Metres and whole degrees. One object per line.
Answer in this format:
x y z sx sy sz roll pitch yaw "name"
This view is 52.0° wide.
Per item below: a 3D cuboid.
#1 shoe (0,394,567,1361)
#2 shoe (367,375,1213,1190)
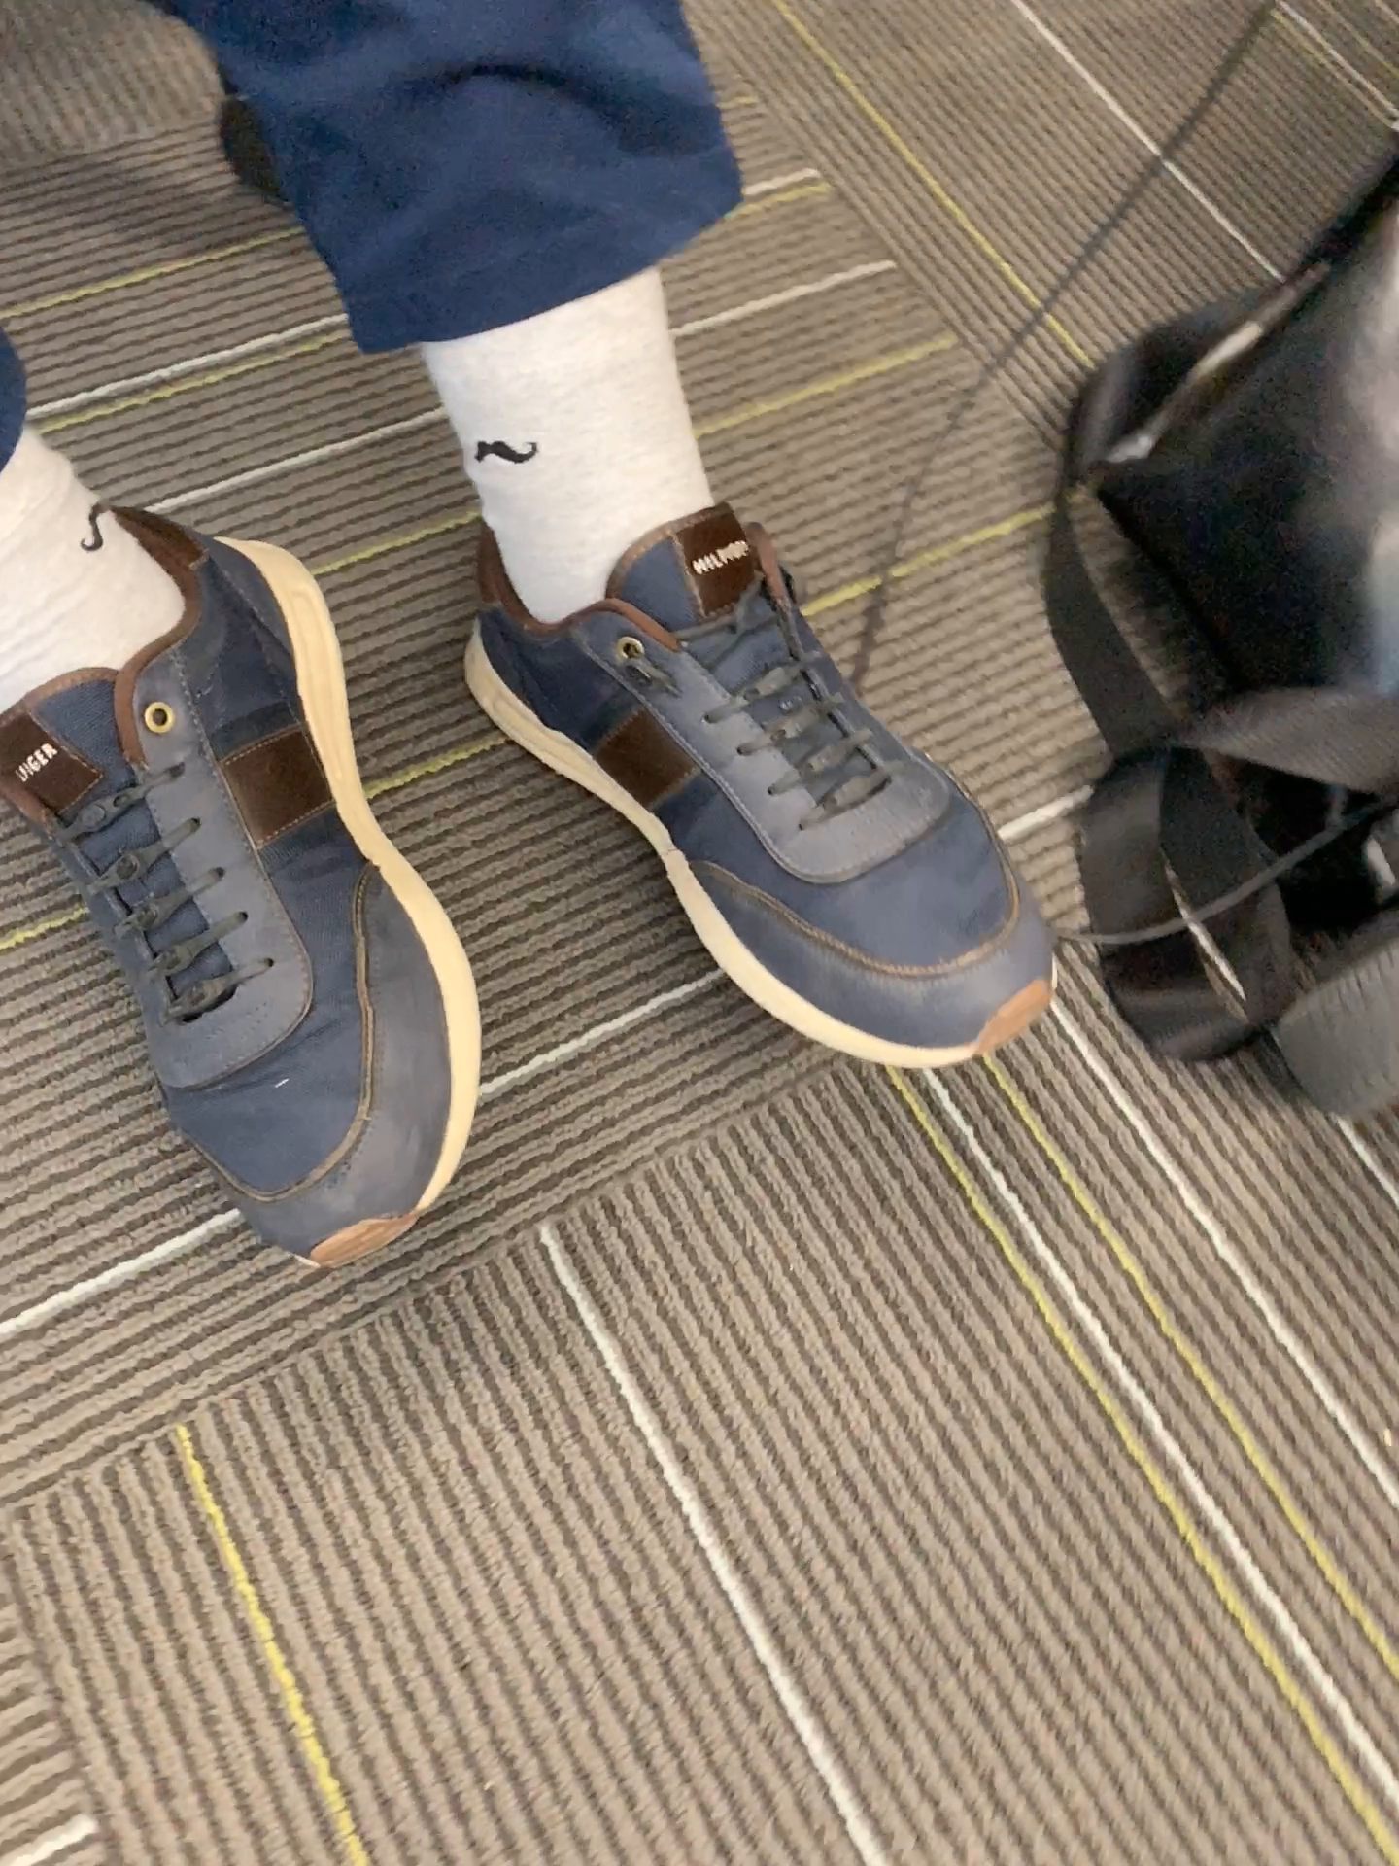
-0.165 -0.032 0.509 0.120 0.100 0.321 -30 56 11 "shoe"
0.017 -0.070 0.524 0.120 0.100 0.301 -33 59 -19 "shoe"
